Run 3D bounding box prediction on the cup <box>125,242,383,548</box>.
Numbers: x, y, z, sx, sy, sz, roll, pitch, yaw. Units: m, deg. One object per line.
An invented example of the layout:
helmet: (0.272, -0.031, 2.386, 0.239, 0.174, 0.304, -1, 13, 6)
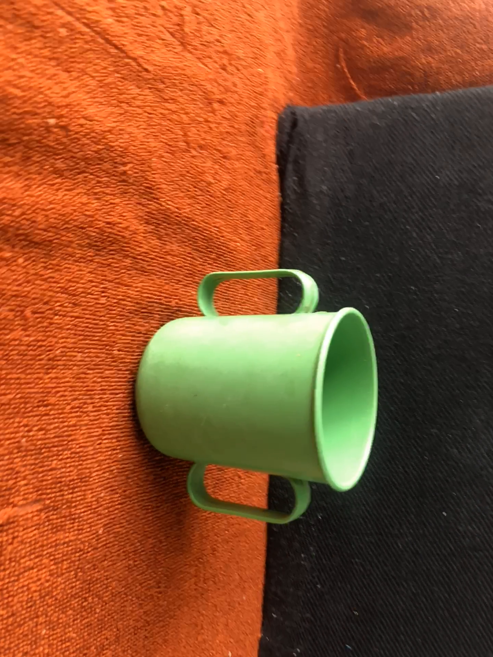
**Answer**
cup: (0.007, 0.020, 0.232, 0.081, 0.079, 0.100, -2, 94, -63)
